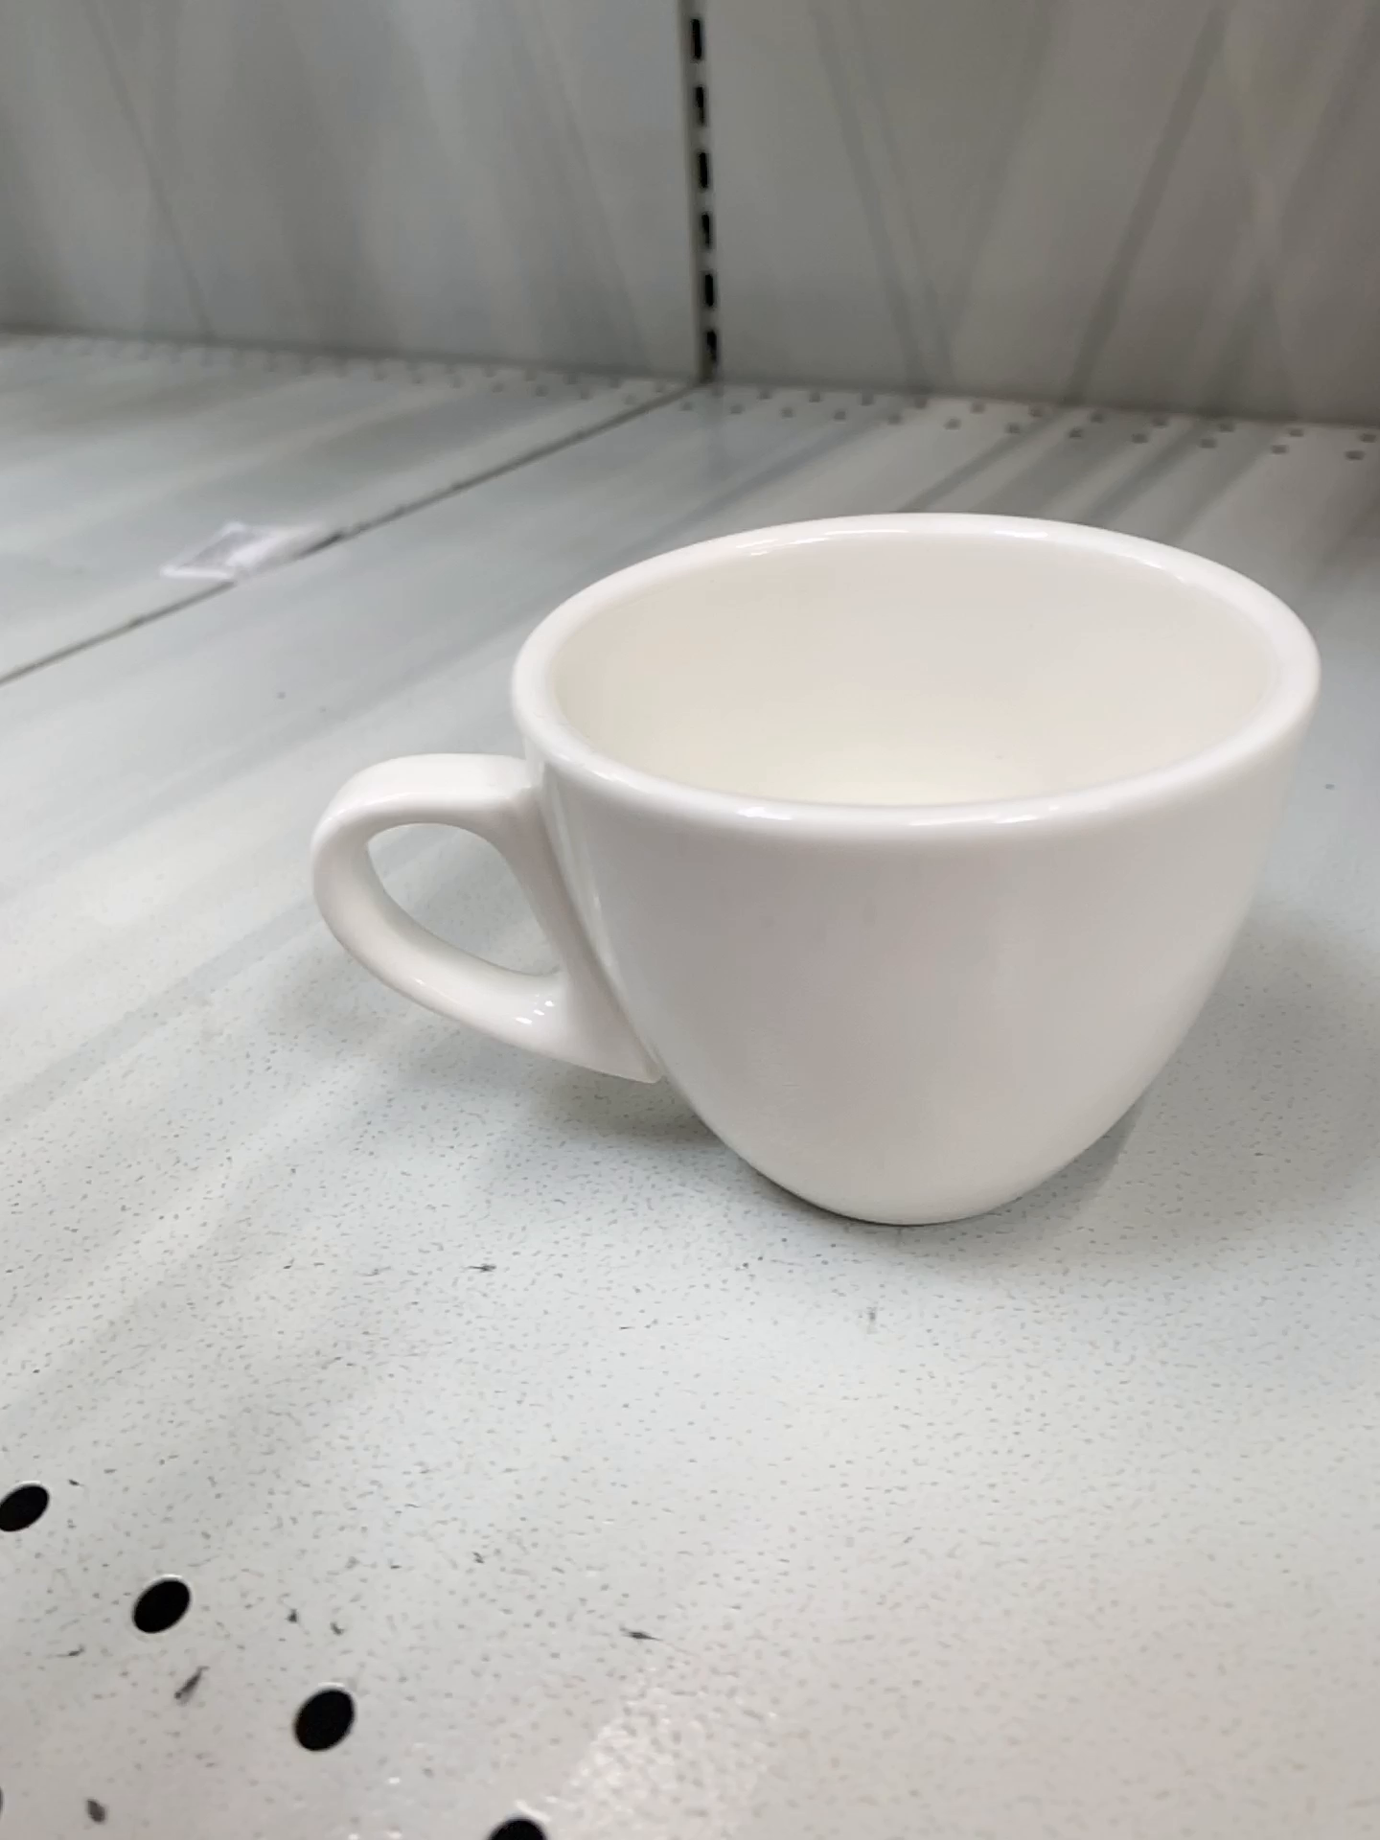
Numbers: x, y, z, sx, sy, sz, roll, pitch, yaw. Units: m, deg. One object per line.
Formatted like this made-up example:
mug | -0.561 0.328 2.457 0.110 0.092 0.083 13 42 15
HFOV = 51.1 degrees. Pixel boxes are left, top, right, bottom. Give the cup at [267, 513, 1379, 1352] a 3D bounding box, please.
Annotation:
cup | 0.027 -0.004 0.200 0.128 0.072 0.097 0 32 6
